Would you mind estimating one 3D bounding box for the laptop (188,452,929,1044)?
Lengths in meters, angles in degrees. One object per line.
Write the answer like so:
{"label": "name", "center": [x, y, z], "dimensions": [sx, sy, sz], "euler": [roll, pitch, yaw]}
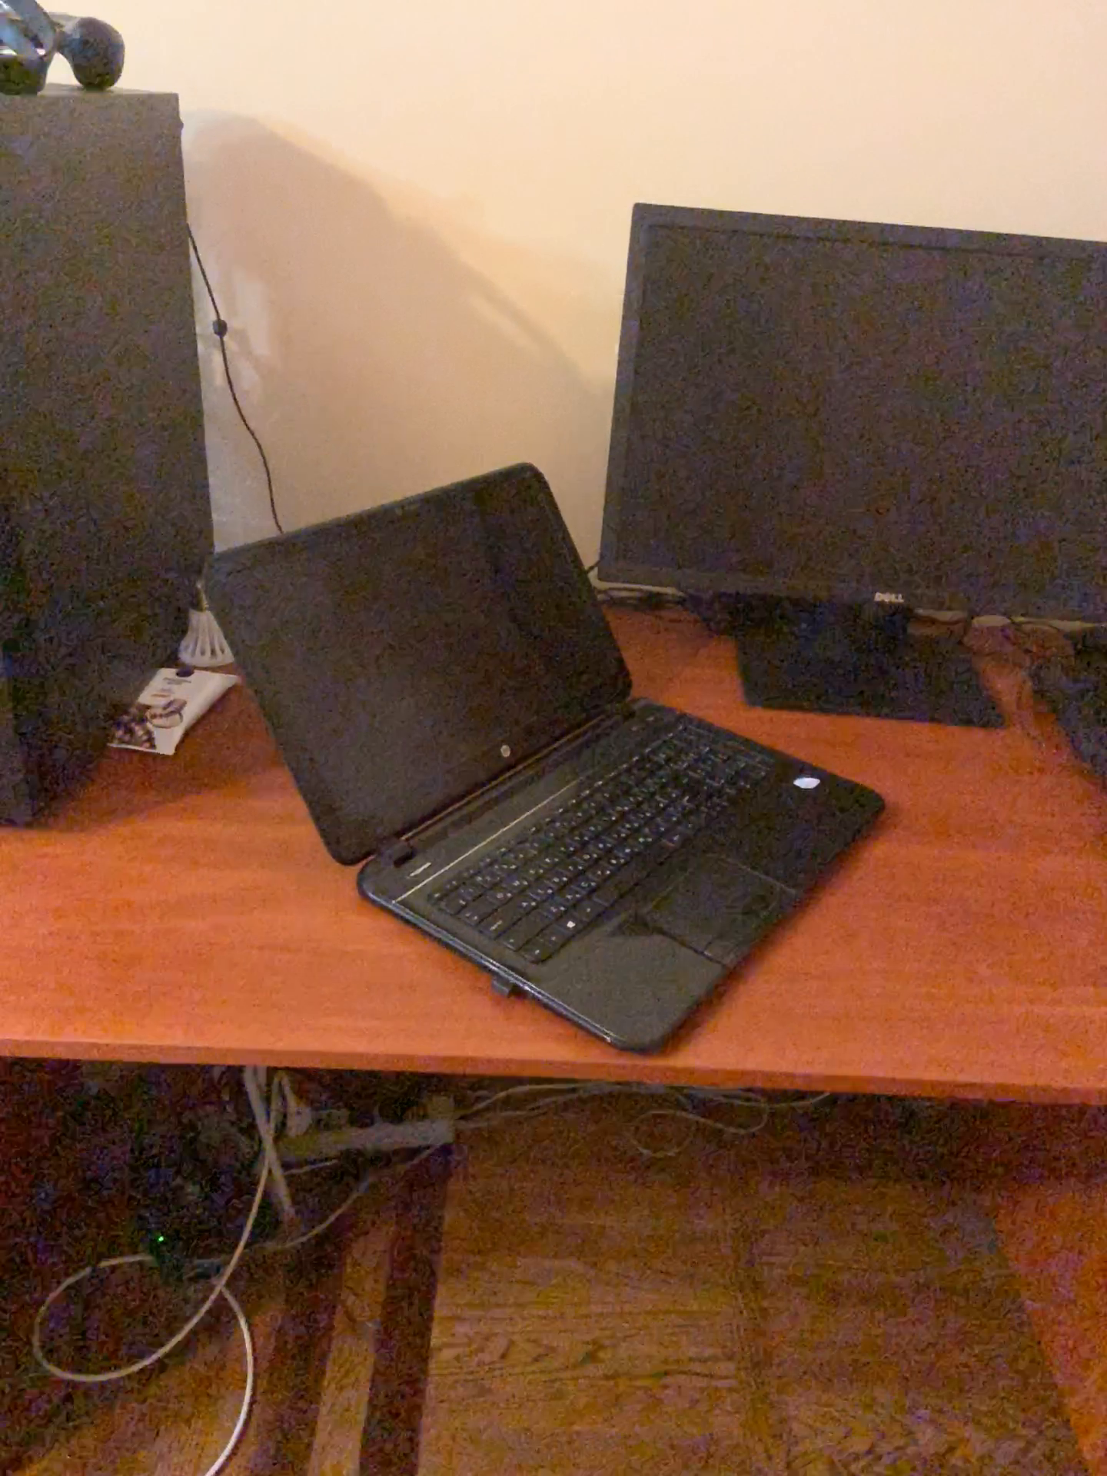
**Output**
{"label": "laptop", "center": [0.009, -0.036, 0.774], "dimensions": [0.358, 0.168, 0.333], "euler": [26, 35, 28]}
